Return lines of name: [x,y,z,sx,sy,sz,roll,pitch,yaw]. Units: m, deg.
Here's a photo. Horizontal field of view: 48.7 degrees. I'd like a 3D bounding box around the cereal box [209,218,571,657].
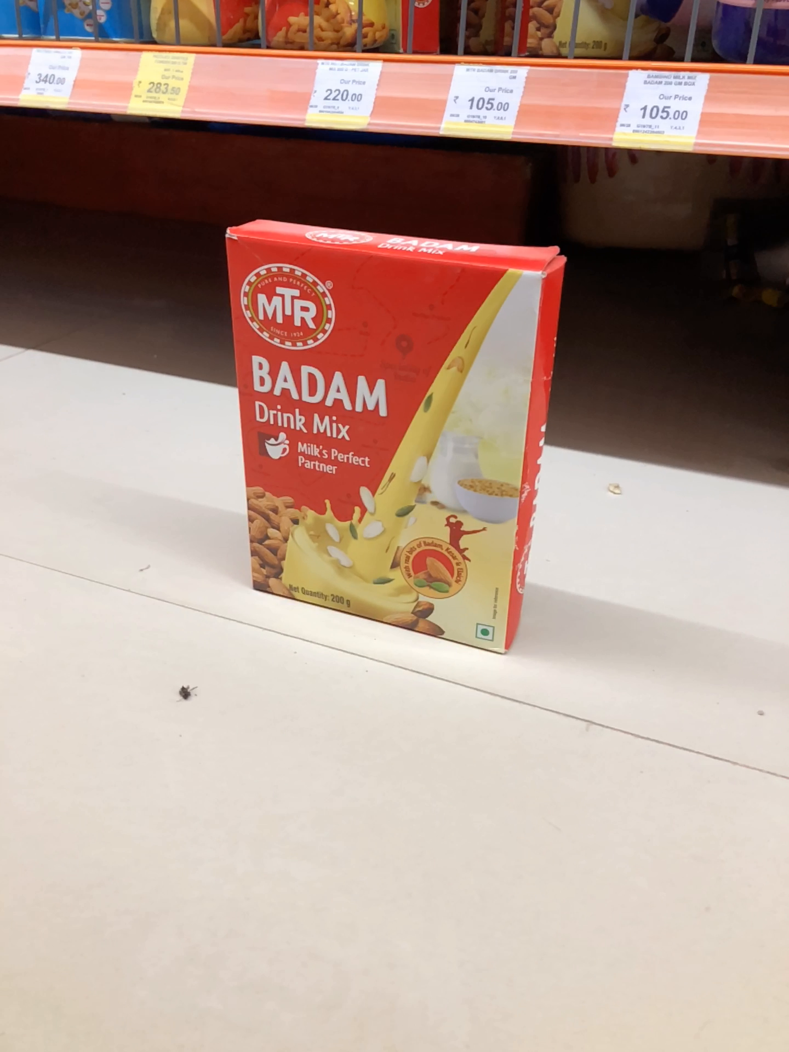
cereal box: [-0.004,-0.037,0.365,0.130,0.159,0.040,12,30,18]
